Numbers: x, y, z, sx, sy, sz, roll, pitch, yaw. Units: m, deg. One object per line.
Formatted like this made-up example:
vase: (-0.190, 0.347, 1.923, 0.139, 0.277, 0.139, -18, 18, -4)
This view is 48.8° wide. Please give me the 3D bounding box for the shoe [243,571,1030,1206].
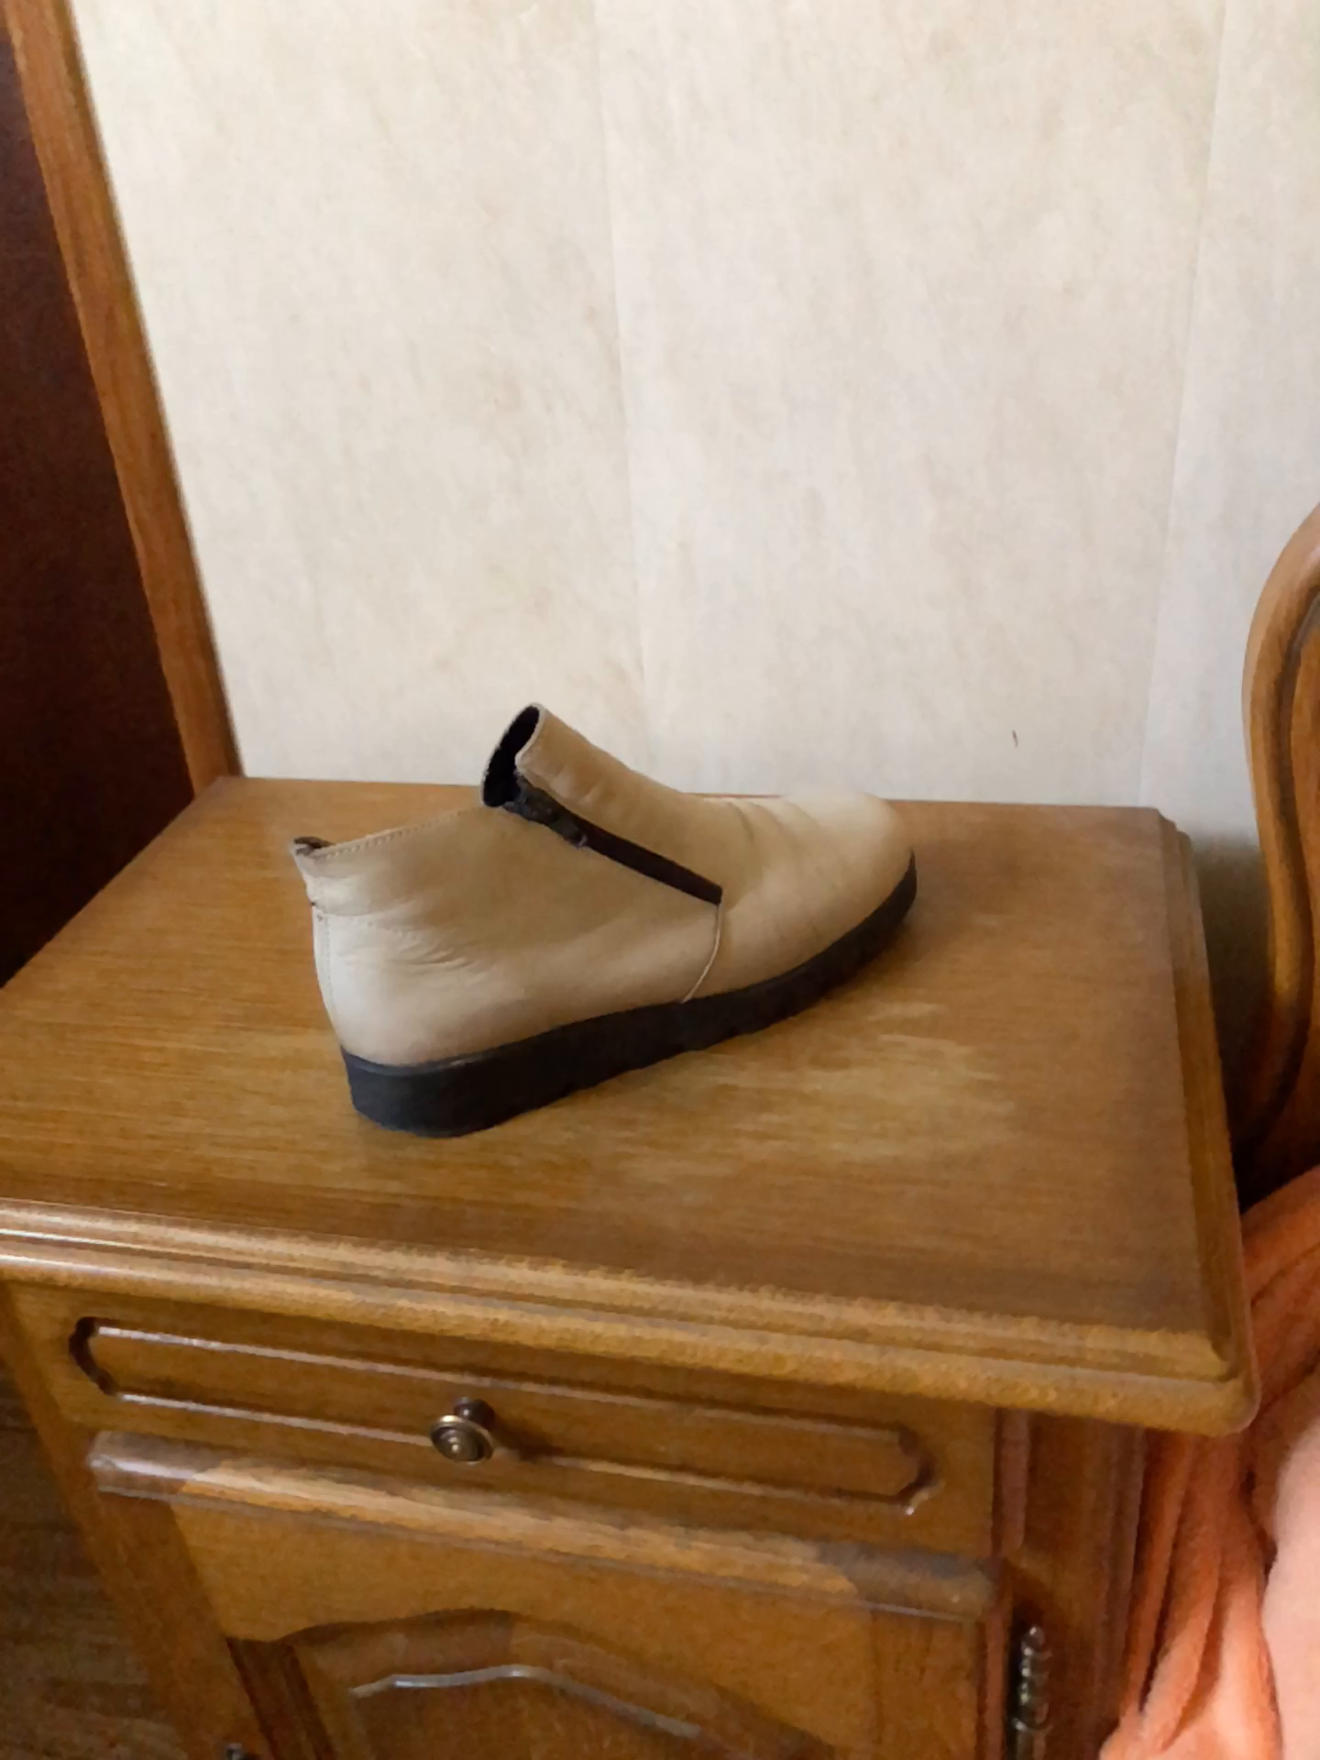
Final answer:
shoe: (0.003, -0.011, 0.550, 0.271, 0.129, 0.100, -21, 34, -27)
